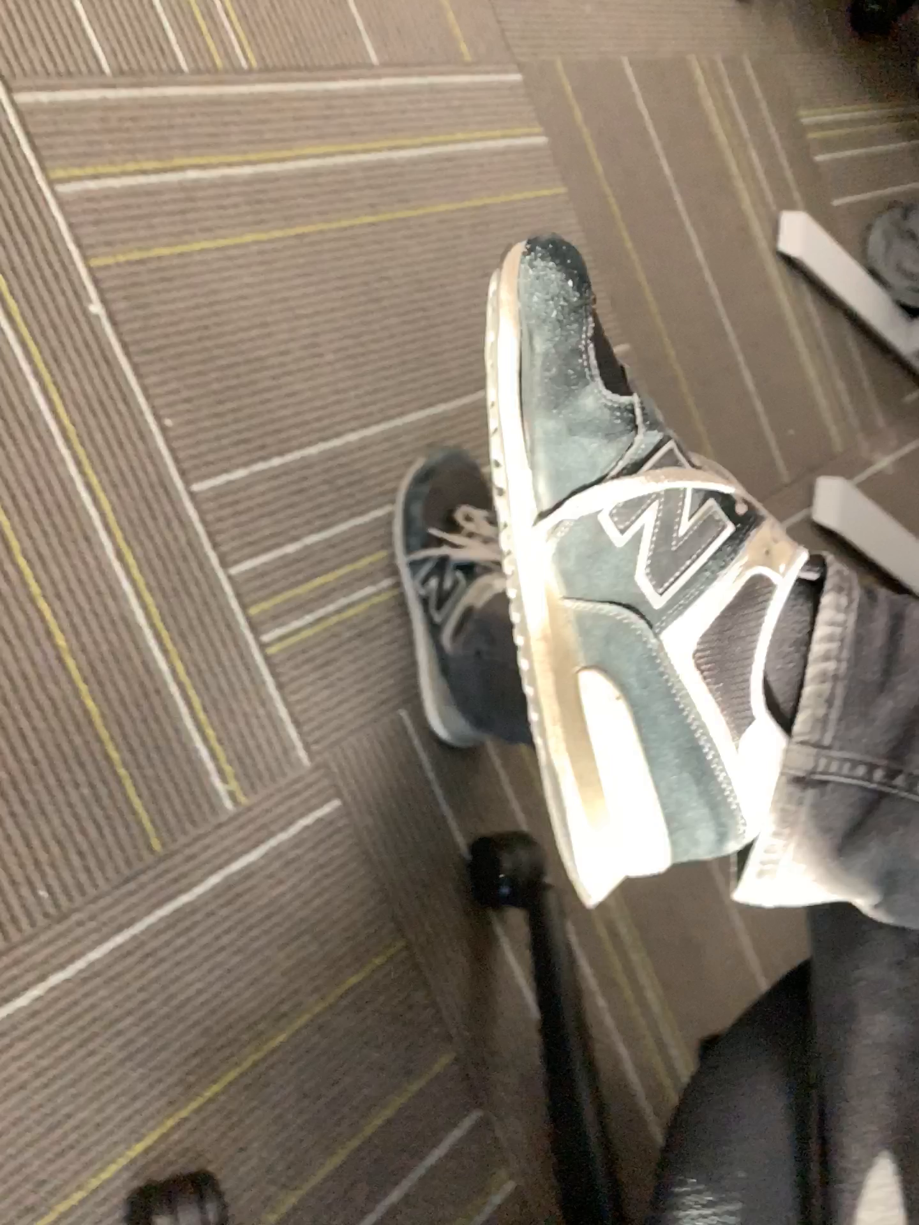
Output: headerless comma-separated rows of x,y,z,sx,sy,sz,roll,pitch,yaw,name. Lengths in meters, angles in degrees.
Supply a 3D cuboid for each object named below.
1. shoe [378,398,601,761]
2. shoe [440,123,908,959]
0.024,-0.024,0.884,0.115,0.133,0.304,-1,81,-37,shoe
0.075,-0.028,0.411,0.133,0.115,0.304,-6,83,-1,shoe
